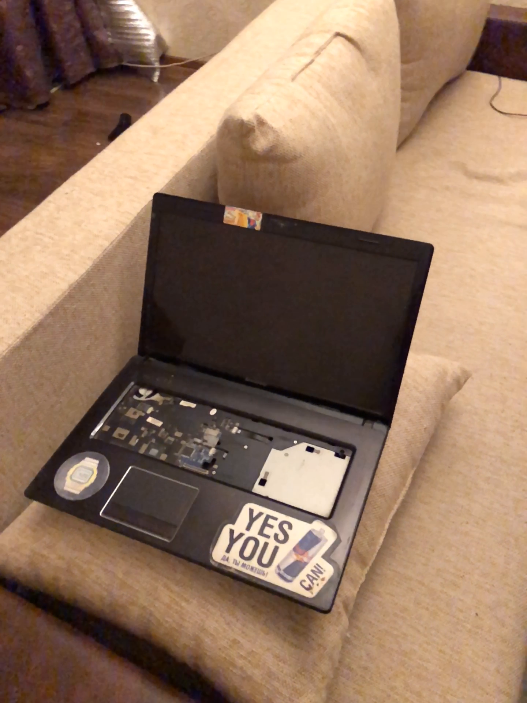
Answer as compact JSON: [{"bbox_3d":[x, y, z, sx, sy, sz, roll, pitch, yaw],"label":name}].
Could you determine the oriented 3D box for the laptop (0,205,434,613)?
[{"bbox_3d":[-0.048,0.034,0.752,0.413,0.198,0.409,15,49,18],"label":"laptop"}]
